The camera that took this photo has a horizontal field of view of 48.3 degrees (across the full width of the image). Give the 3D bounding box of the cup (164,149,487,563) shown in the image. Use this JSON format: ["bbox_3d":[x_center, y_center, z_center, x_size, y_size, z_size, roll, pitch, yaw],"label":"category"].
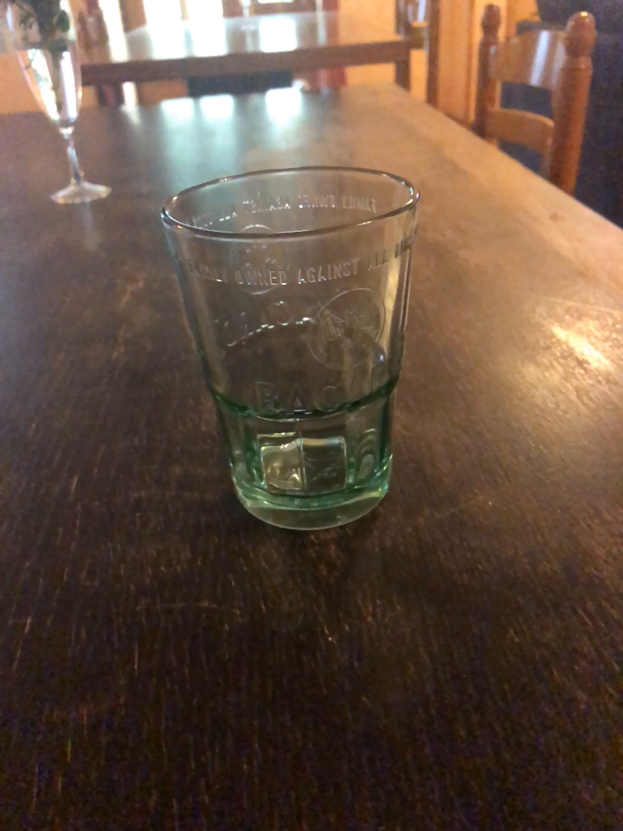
[{"bbox_3d":[0.001,-0.025,0.240,0.083,0.103,0.089,-4,31,2],"label":"cup"}]
